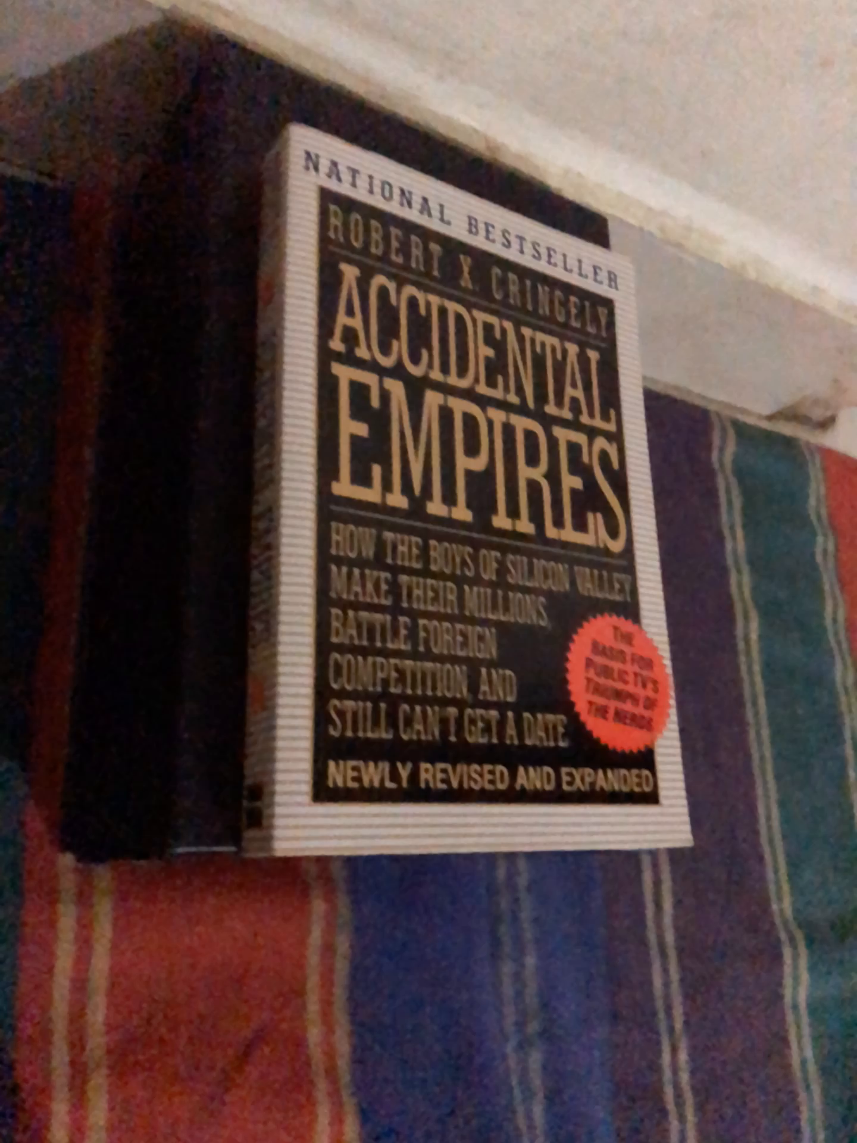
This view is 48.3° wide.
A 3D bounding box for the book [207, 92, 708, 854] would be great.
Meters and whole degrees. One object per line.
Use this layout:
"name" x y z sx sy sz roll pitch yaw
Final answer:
"book" 0.010 -0.021 0.274 0.131 0.040 0.190 9 70 -33
